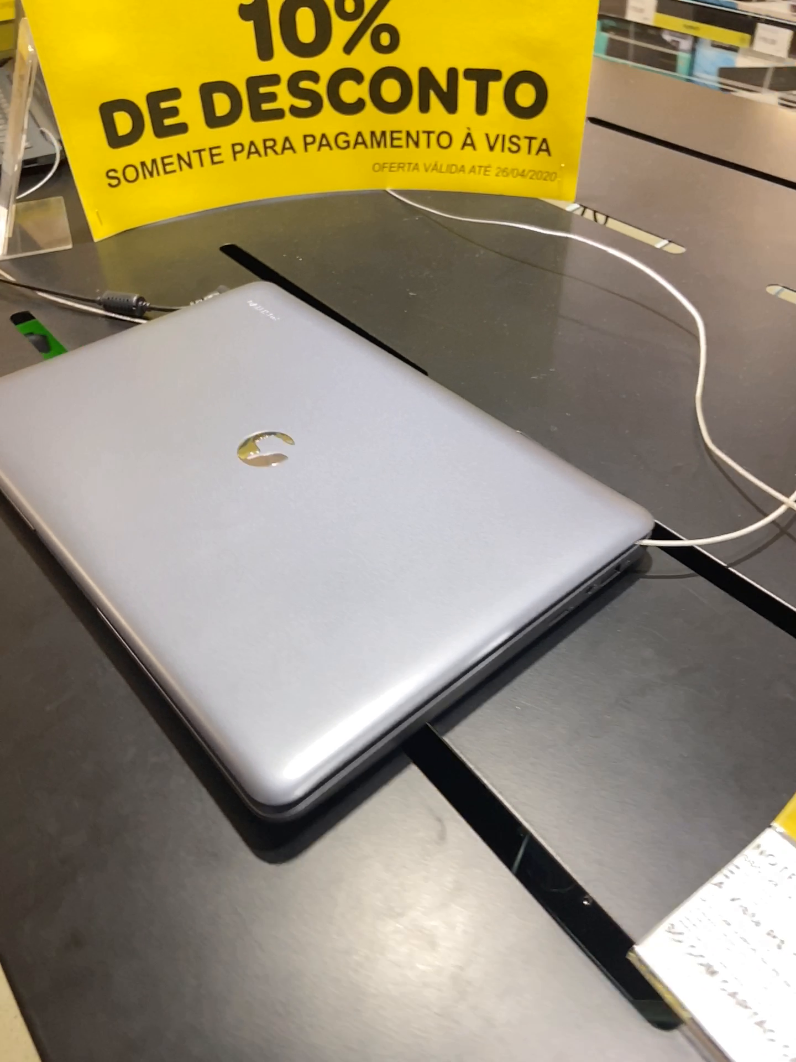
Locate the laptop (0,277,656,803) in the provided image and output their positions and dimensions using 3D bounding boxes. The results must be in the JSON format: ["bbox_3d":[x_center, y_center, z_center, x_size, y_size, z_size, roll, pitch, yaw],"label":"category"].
[{"bbox_3d":[-0.070,-0.041,0.421,0.213,0.001,0.330,-31,50,-27],"label":"laptop"}]
